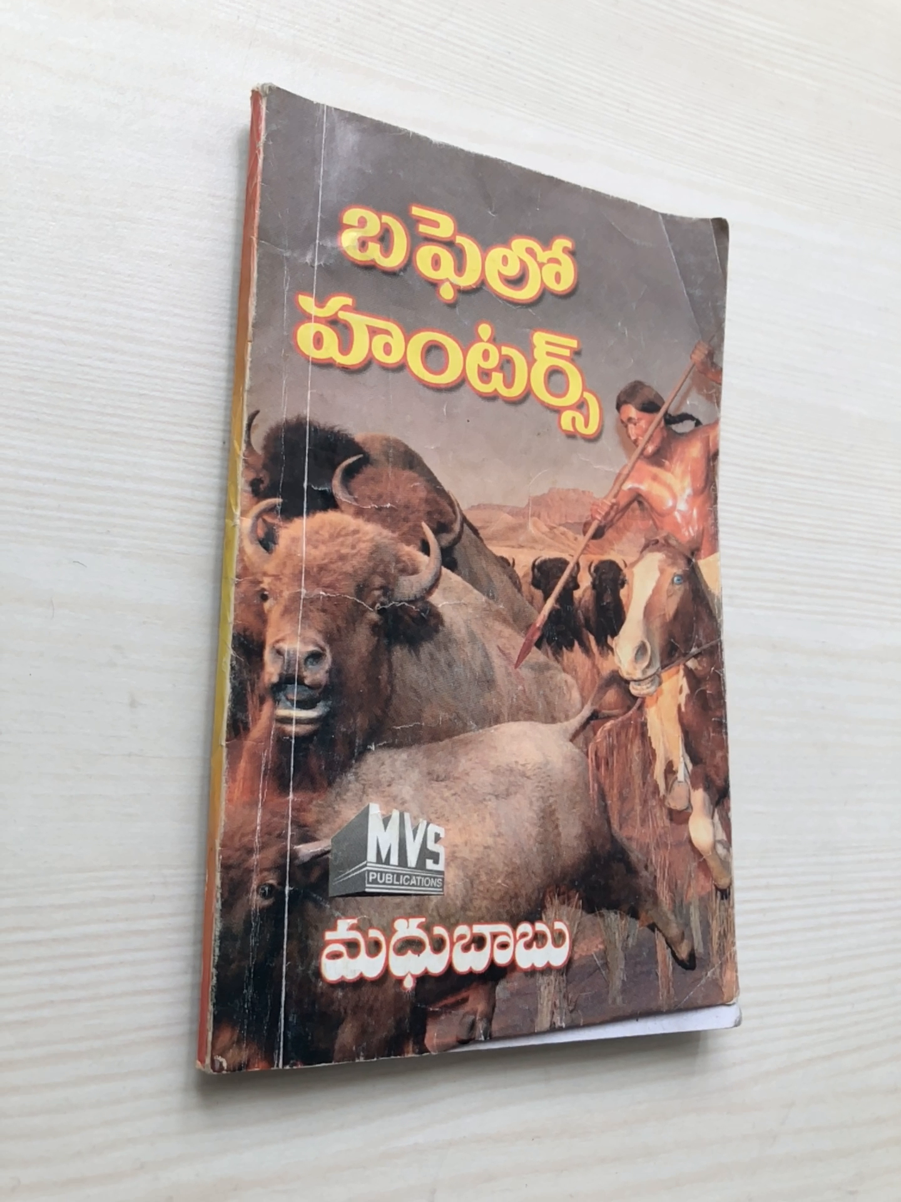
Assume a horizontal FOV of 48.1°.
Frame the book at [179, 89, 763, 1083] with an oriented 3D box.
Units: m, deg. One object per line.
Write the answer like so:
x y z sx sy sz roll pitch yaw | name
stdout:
0.009 -0.001 0.182 0.100 0.020 0.150 5 84 -25 | book
